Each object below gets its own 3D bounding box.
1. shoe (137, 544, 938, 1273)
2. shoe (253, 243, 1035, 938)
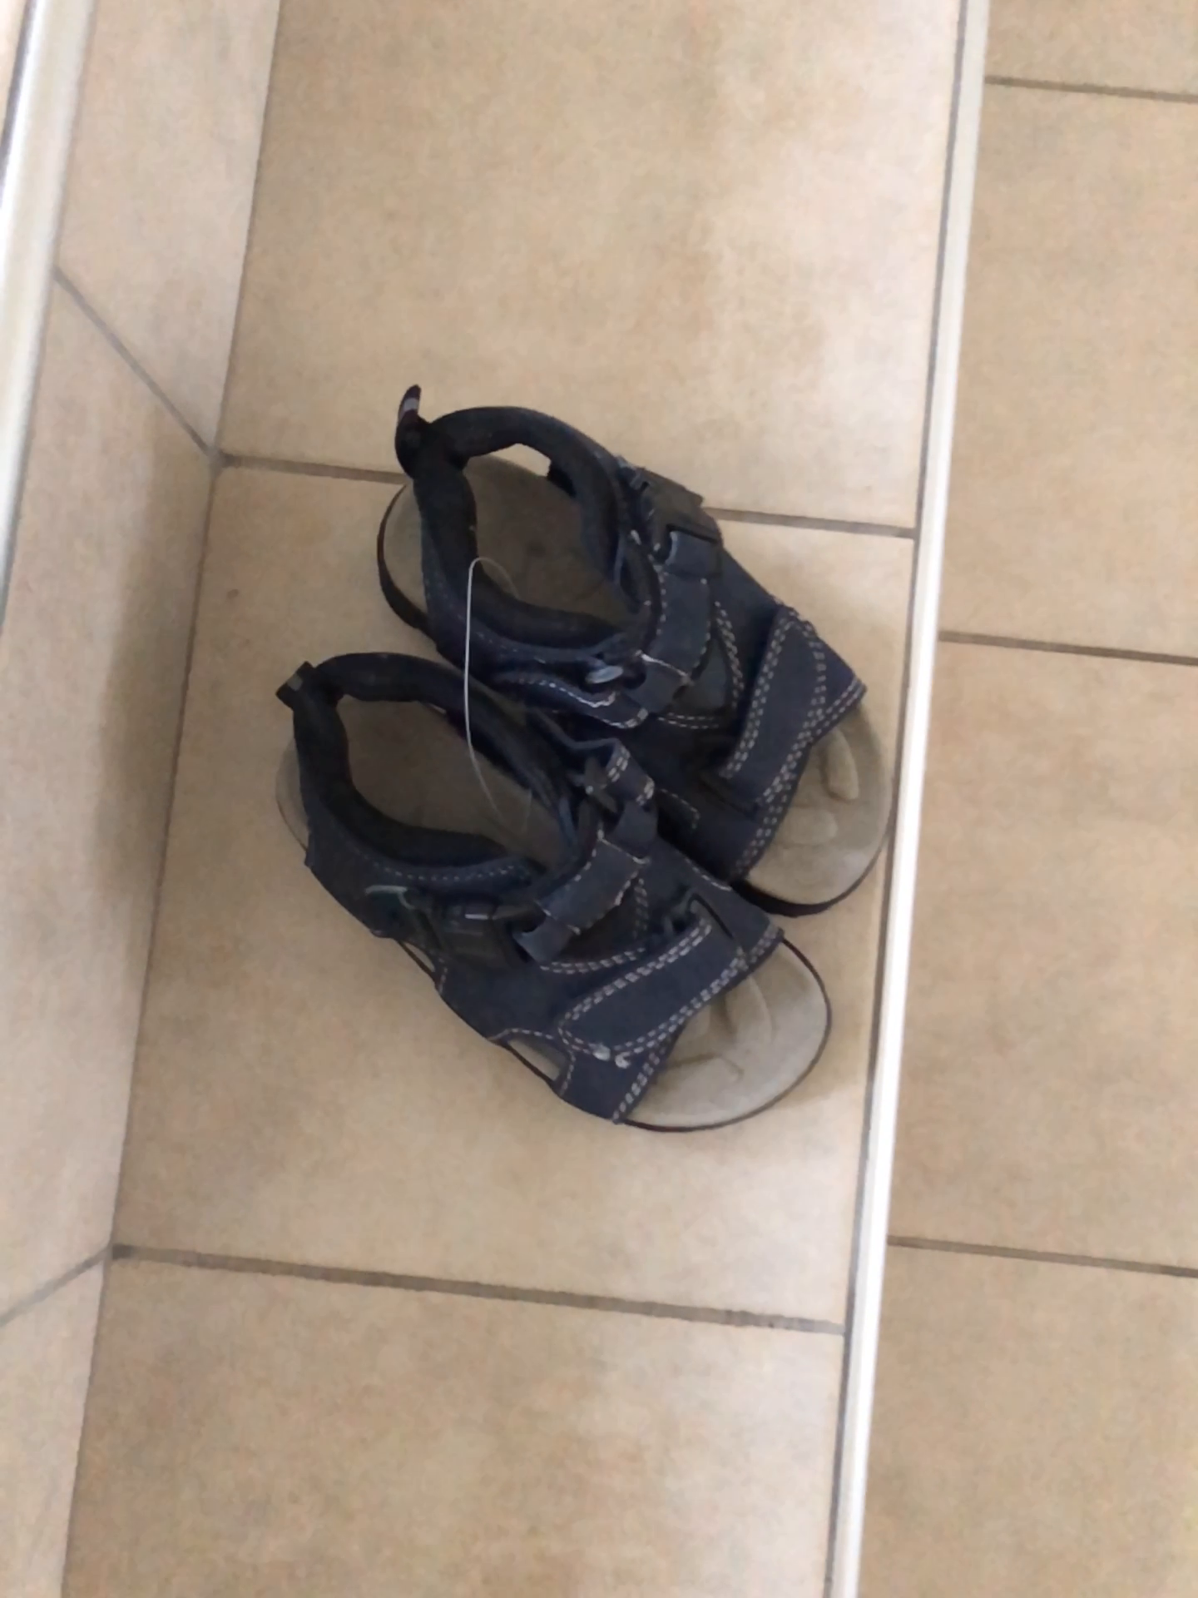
[{"bbox_3d":[-0.019,0.035,0.443,0.230,0.090,0.100,38,85,3],"label":"shoe"},{"bbox_3d":[0.013,-0.063,0.453,0.230,0.090,0.100,38,85,3],"label":"shoe"}]
